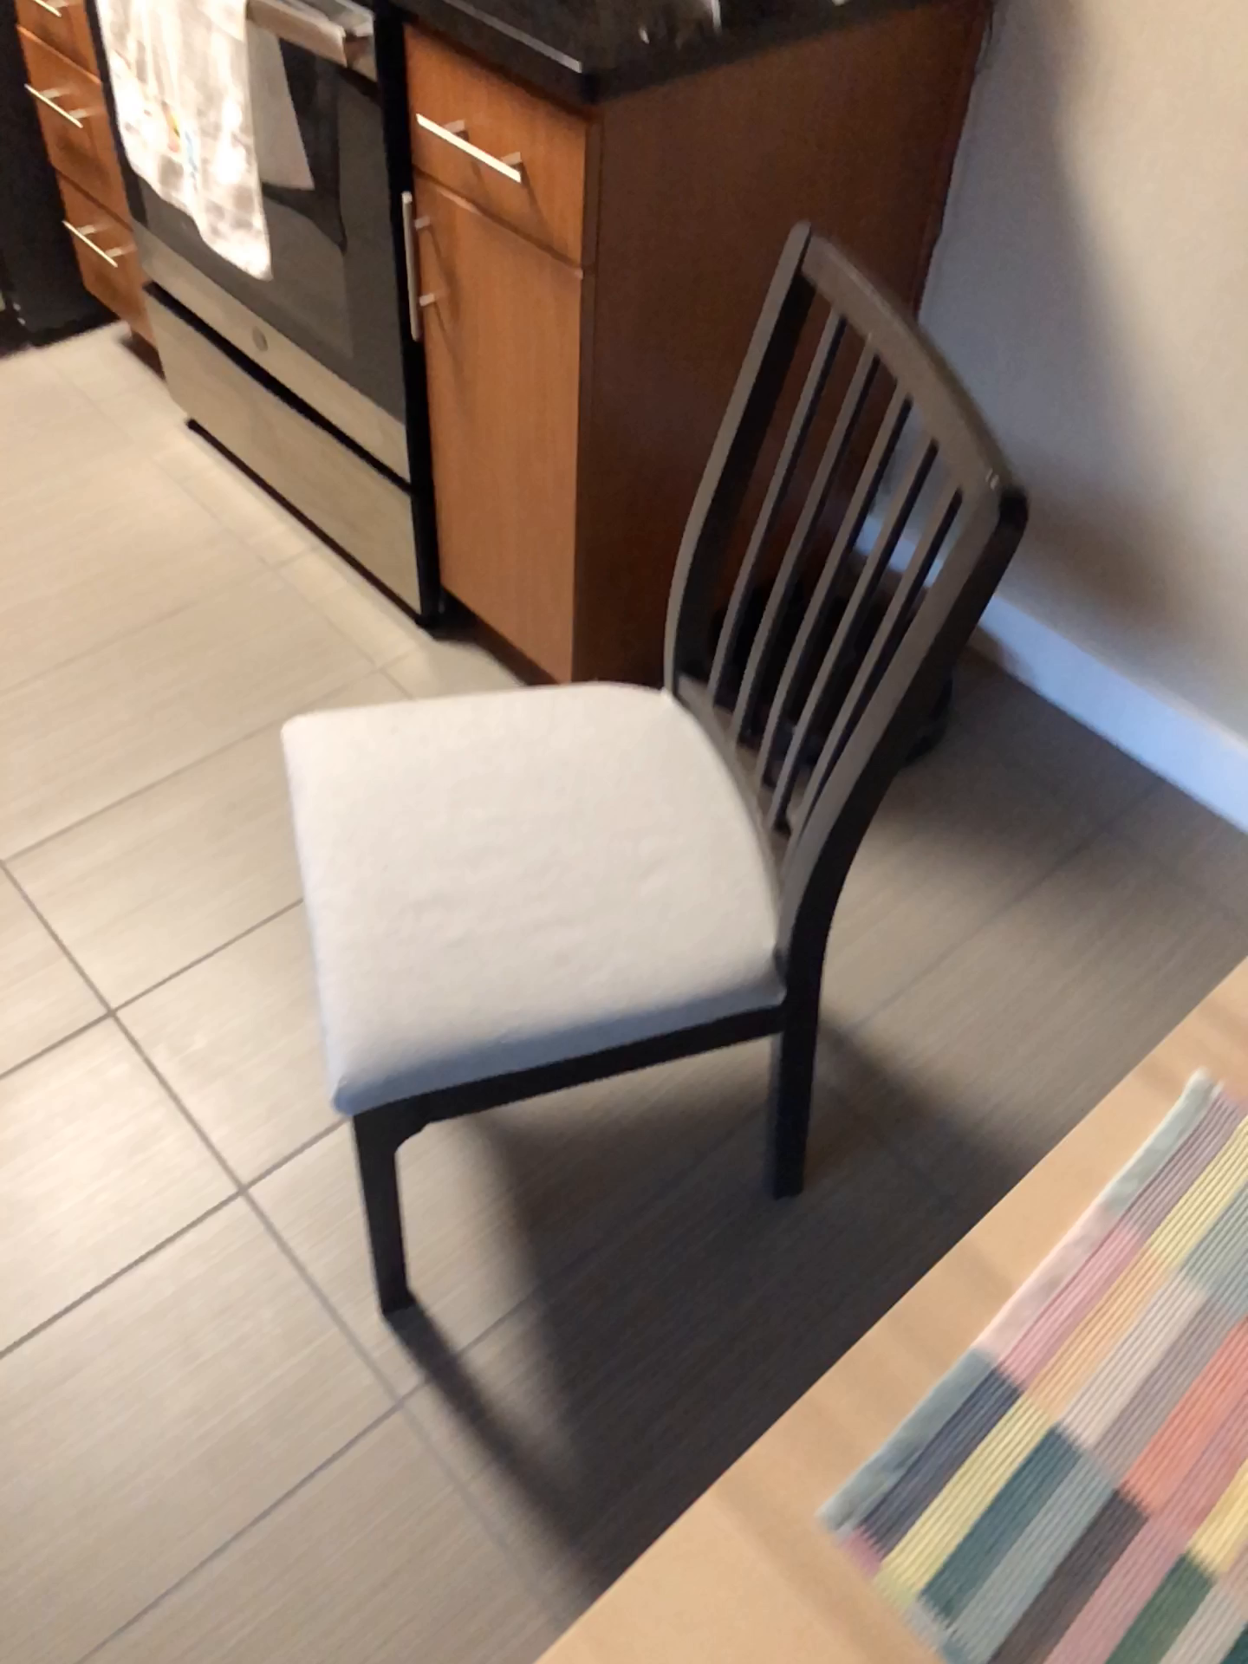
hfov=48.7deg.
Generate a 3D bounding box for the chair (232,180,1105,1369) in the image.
[{"bbox_3d":[-0.038,0.039,1.362,0.510,1.125,0.482,-6,49,-10],"label":"chair"}]
